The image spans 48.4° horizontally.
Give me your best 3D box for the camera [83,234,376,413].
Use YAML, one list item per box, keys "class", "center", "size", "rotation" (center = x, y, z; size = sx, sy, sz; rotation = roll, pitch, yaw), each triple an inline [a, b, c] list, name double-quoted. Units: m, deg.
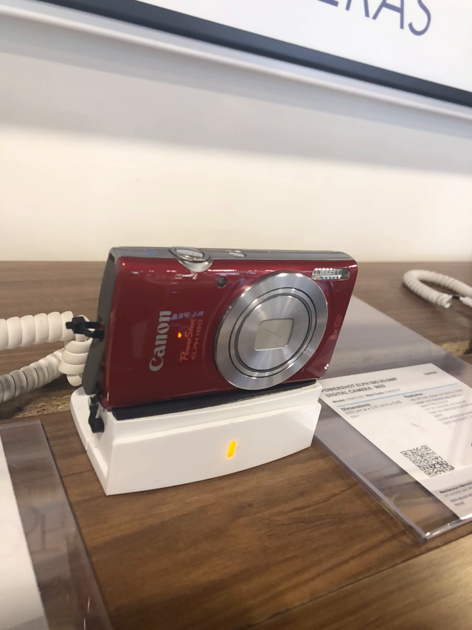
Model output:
- class: "camera"
  center: [-0.001, 0.001, 0.189]
  size: [0.097, 0.051, 0.023]
  rotation: [-3, 31, -31]
